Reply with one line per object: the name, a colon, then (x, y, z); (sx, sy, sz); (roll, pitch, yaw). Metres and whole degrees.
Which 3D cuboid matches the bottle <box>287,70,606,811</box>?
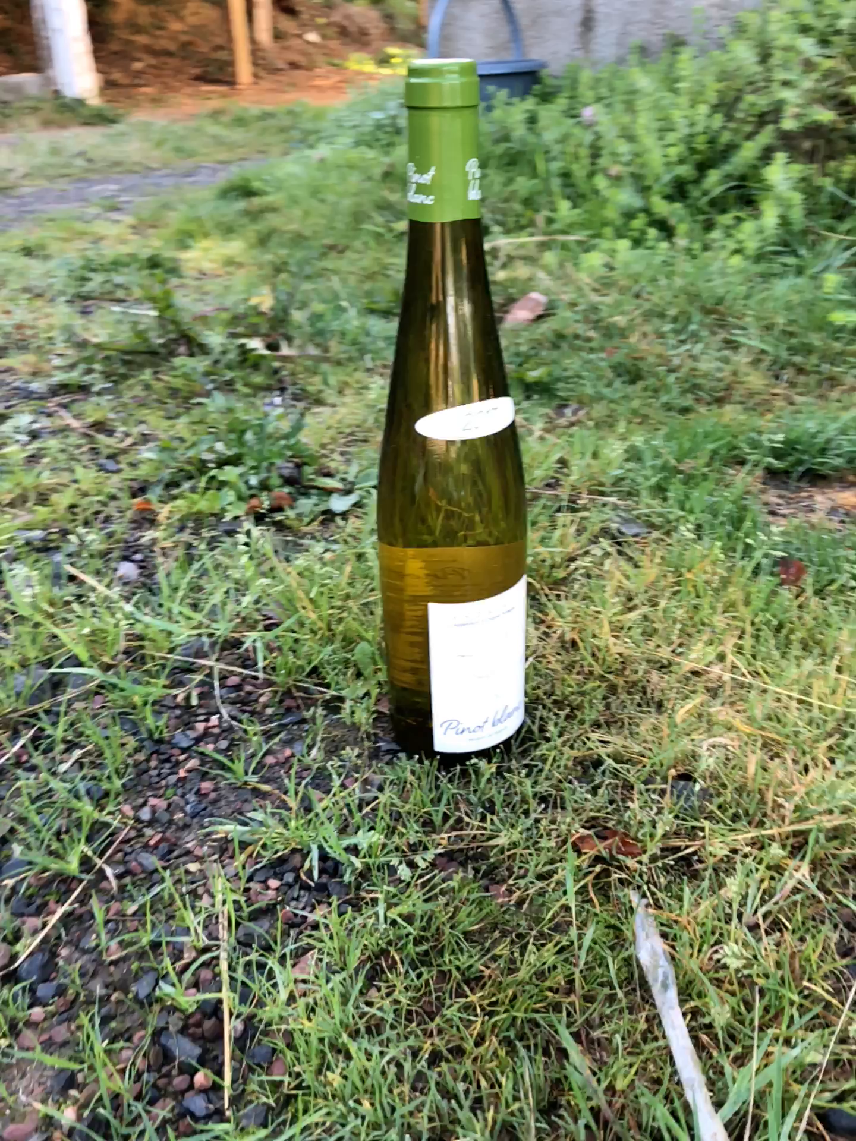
bottle: (0.012, -0.052, 0.442); (0.090, 0.318, 0.090); (-2, 28, 1)
